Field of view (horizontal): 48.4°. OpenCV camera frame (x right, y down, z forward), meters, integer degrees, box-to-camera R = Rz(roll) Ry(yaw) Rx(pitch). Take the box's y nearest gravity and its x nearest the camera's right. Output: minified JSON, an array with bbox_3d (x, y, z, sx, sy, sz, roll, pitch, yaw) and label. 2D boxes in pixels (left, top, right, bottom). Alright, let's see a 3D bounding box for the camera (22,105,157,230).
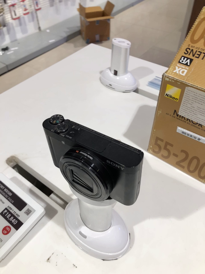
[{"bbox_3d":[-0.013,0.026,0.205,0.110,0.070,0.030,25,51,24],"label":"camera"}]
